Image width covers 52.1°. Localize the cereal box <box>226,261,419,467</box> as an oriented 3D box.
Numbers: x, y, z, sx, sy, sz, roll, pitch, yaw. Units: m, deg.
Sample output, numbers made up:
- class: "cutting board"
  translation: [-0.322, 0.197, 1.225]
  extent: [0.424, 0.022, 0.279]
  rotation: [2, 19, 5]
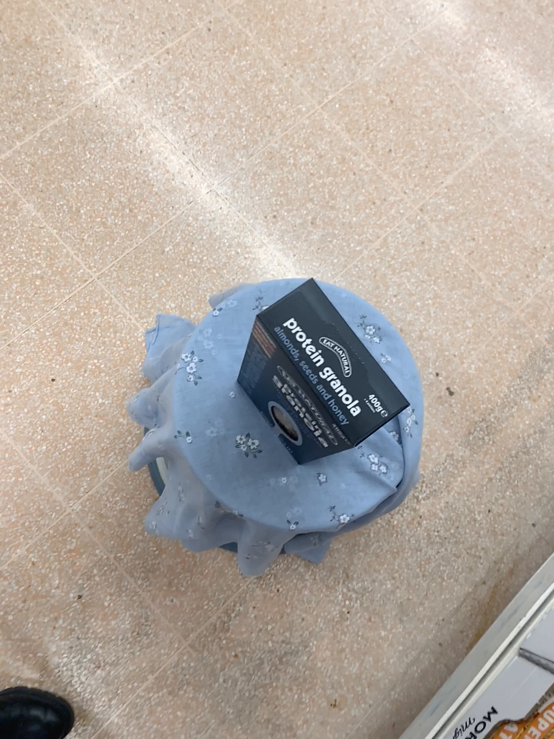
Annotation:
- class: "cereal box"
  translation: [0.023, 0.013, 0.529]
  extent: [0.070, 0.240, 0.130]
  rotation: [-34, 85, -12]
